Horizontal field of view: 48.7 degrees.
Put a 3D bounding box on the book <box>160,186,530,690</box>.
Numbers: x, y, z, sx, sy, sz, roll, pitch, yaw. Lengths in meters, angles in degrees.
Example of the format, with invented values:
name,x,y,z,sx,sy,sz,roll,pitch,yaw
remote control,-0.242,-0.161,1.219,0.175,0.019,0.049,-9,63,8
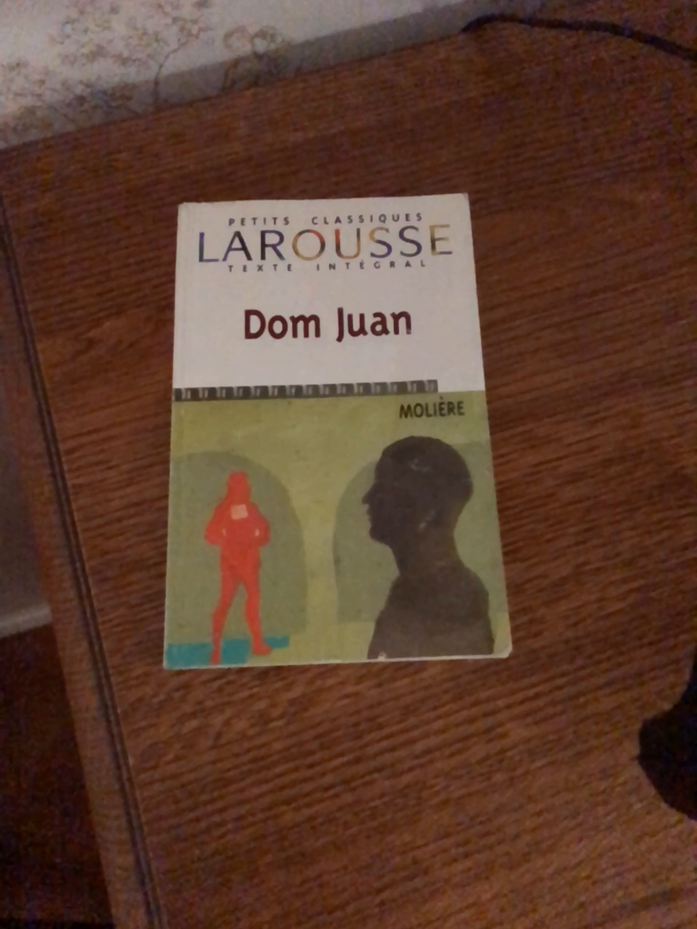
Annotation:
name,x,y,z,sx,sy,sz,roll,pitch,yaw
book,-0.004,-0.017,0.270,0.115,0.010,0.180,-2,73,-1
